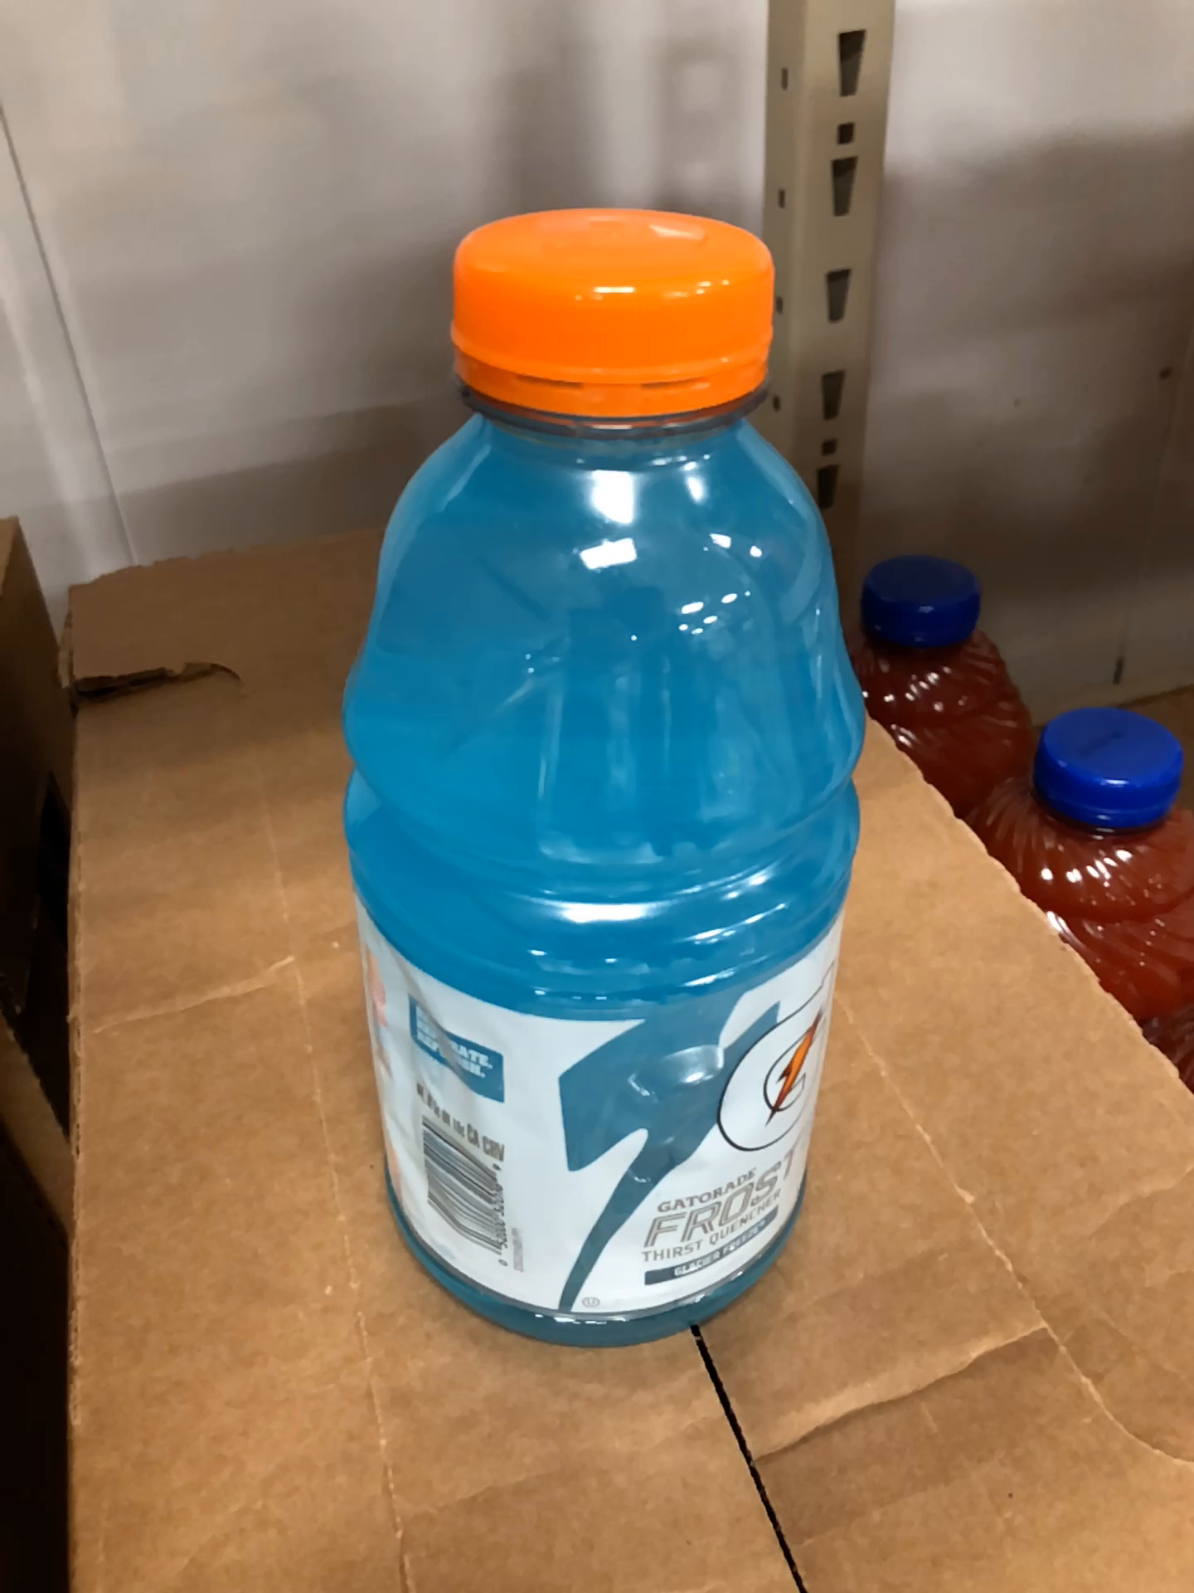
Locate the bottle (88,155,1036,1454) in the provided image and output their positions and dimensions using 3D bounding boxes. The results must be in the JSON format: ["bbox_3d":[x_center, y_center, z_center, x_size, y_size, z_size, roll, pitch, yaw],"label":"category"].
[{"bbox_3d":[0.000,0.003,0.247,0.090,0.200,0.100,26,45,33],"label":"bottle"}]
